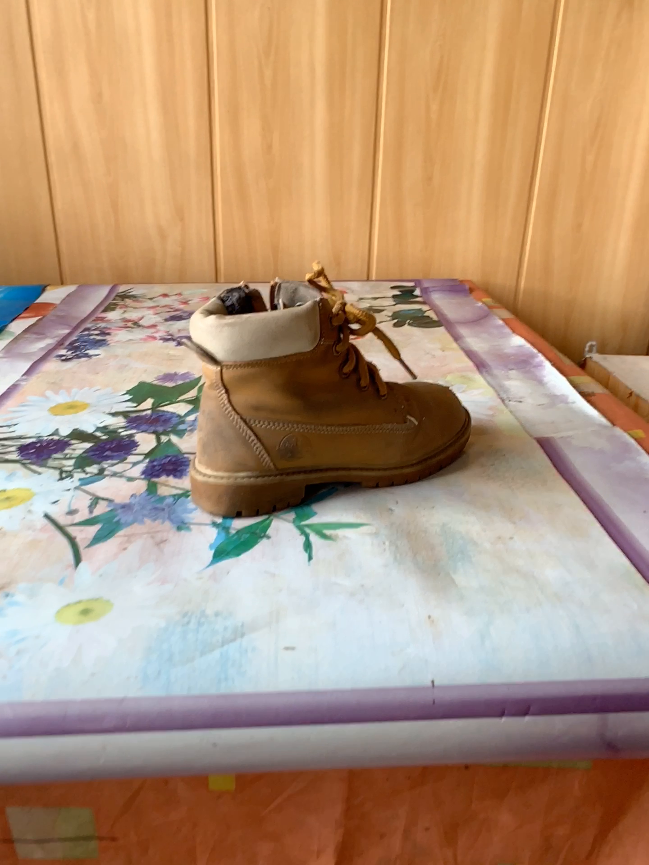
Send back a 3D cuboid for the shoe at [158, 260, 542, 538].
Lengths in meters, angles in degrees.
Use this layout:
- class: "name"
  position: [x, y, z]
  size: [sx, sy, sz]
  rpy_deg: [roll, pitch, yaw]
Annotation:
- class: "shoe"
  position: [0.016, -0.034, 0.434]
  size: [0.220, 0.129, 0.091]
  rpy_deg: [-10, 26, -25]
